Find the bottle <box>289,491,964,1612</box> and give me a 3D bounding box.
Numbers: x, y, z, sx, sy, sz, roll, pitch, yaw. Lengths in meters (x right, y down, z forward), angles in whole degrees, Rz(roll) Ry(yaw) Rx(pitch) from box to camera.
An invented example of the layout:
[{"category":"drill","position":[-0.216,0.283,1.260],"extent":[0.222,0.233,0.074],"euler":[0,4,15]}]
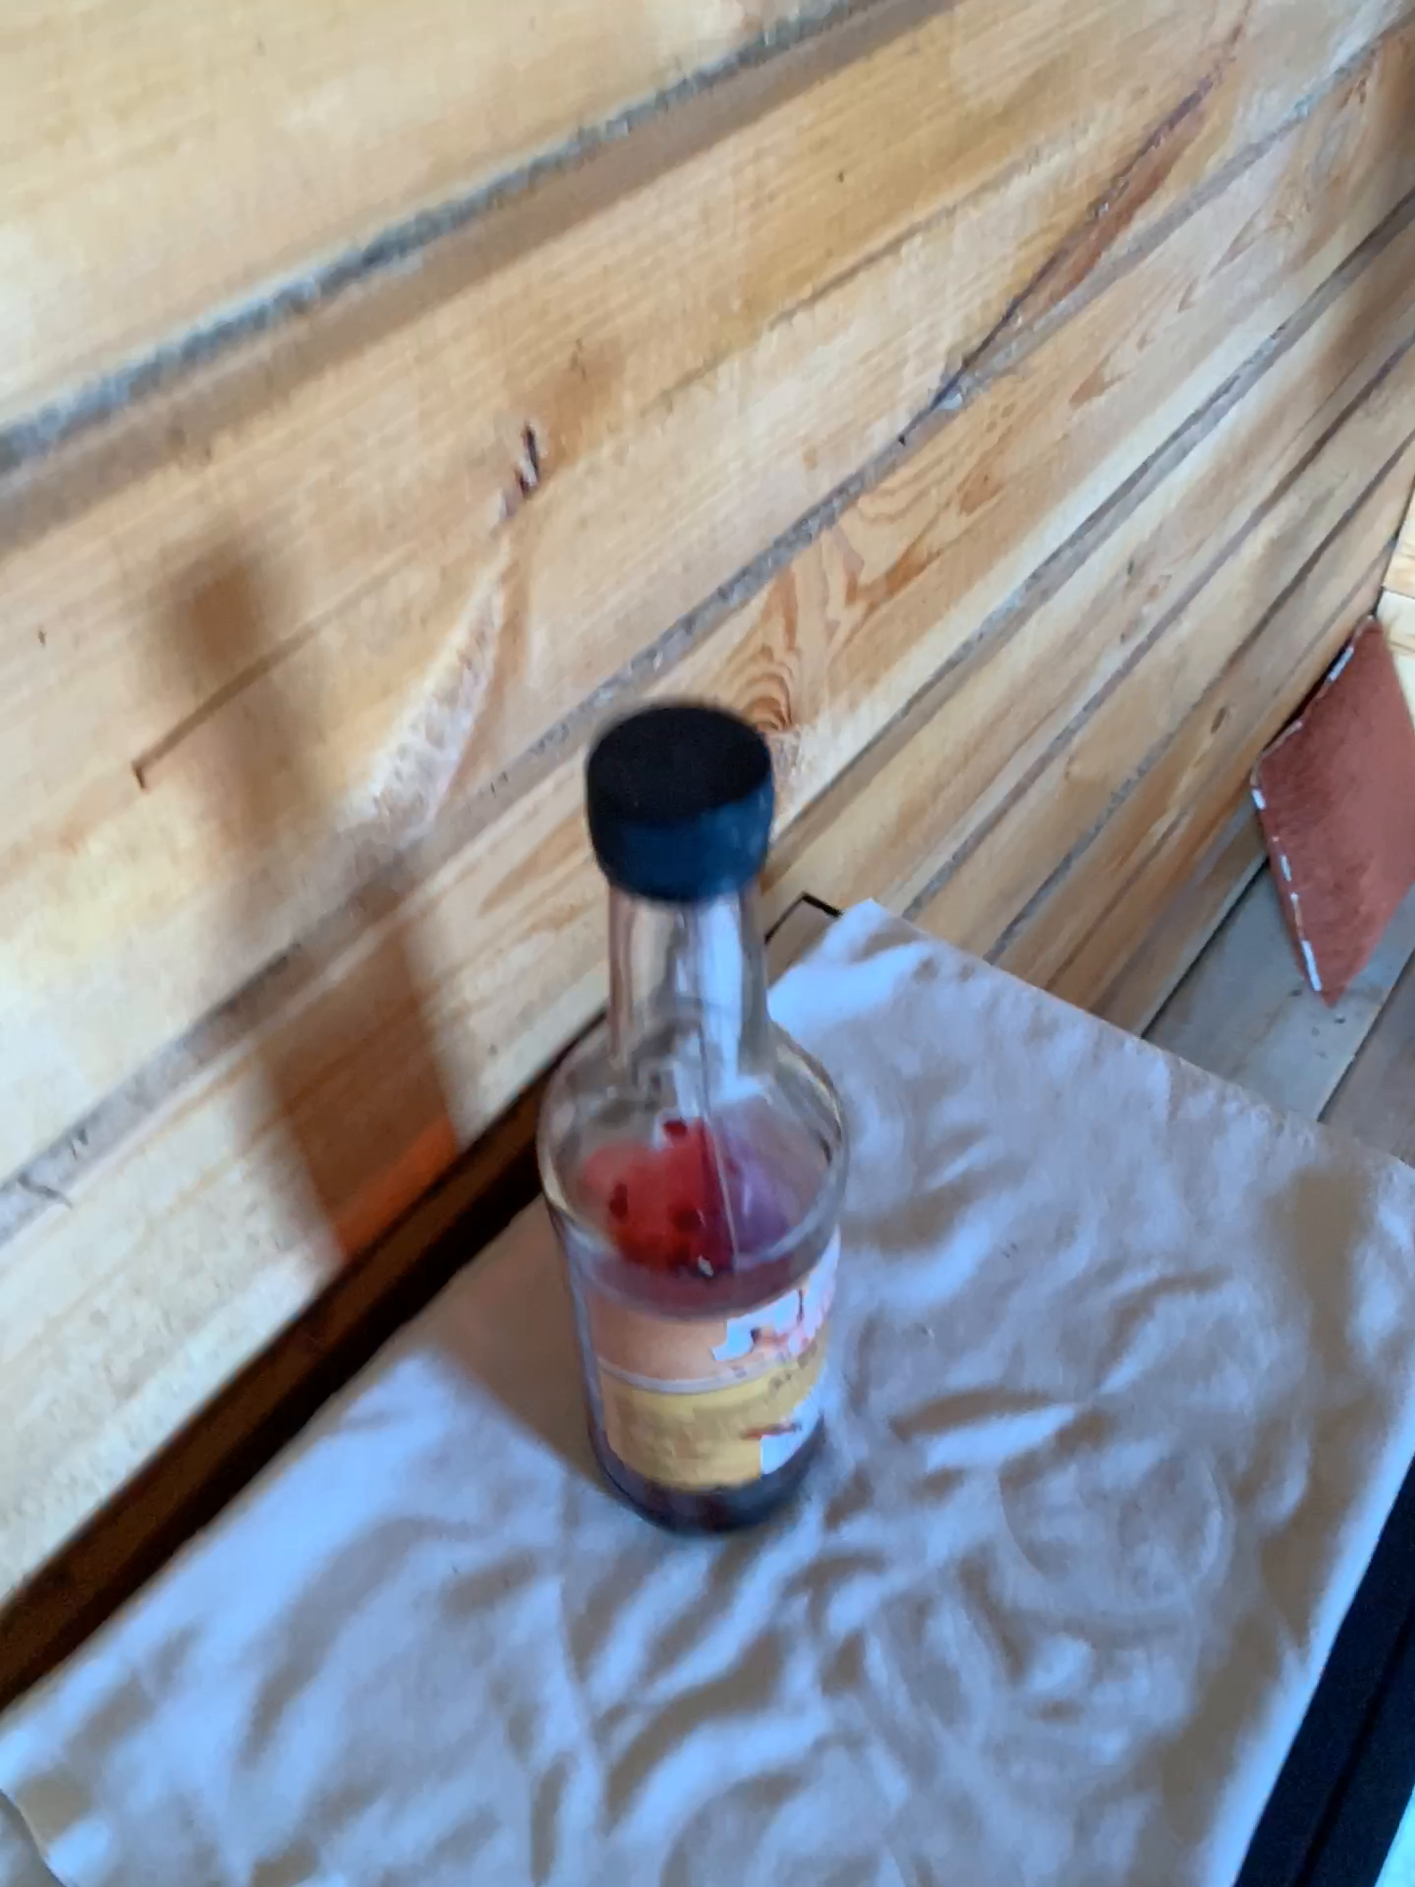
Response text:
[{"category":"bottle","position":[-0.004,0.047,0.310],"extent":[0.070,0.258,0.081],"euler":[18,52,18]}]
